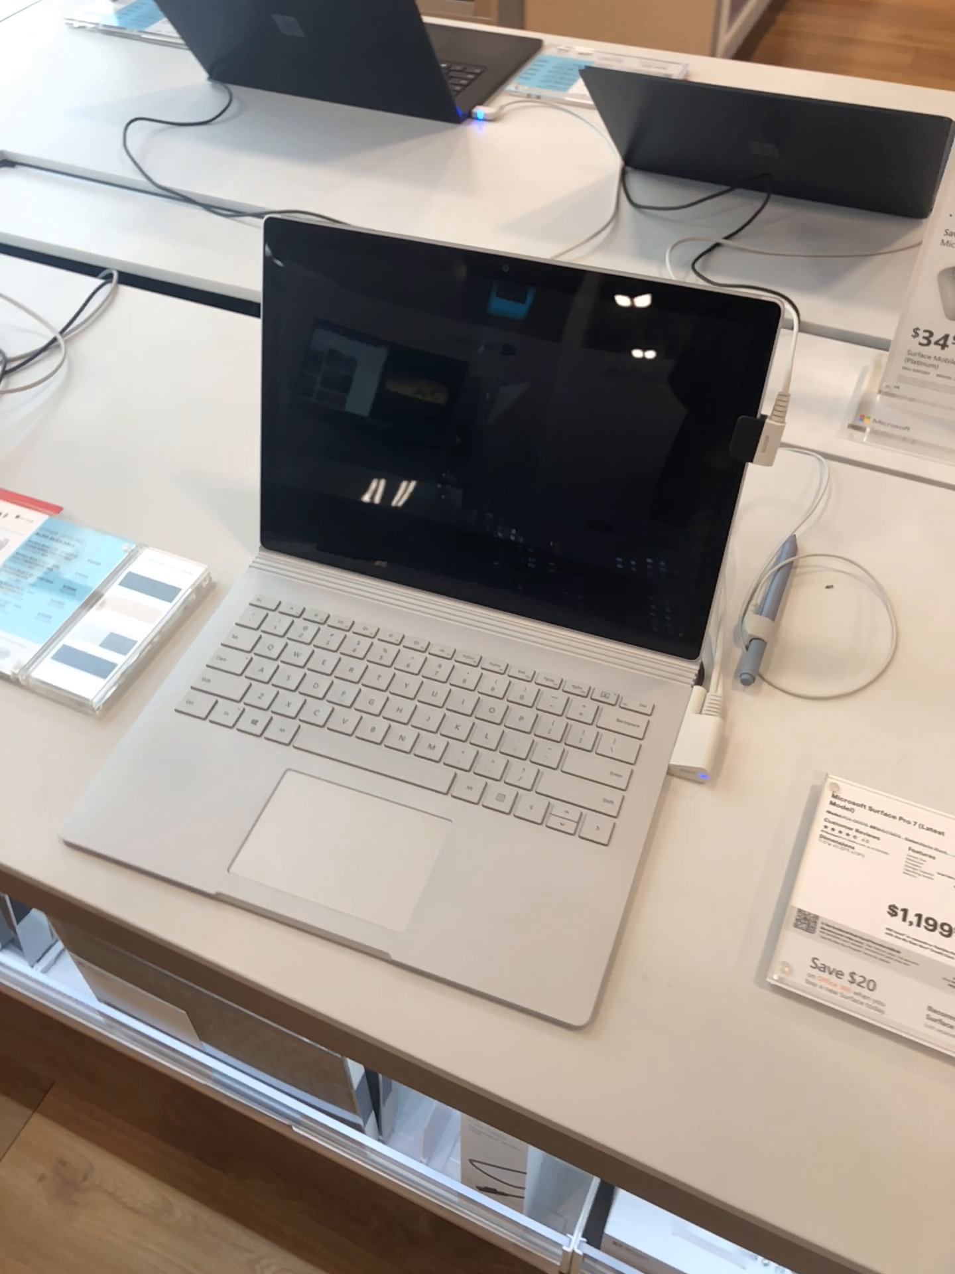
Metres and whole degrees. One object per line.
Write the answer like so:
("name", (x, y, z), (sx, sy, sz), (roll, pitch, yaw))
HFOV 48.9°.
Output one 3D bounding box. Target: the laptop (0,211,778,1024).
("laptop", (-0.033, -0.034, 0.553), (0.291, 0.191, 0.312), (15, 52, 15))
